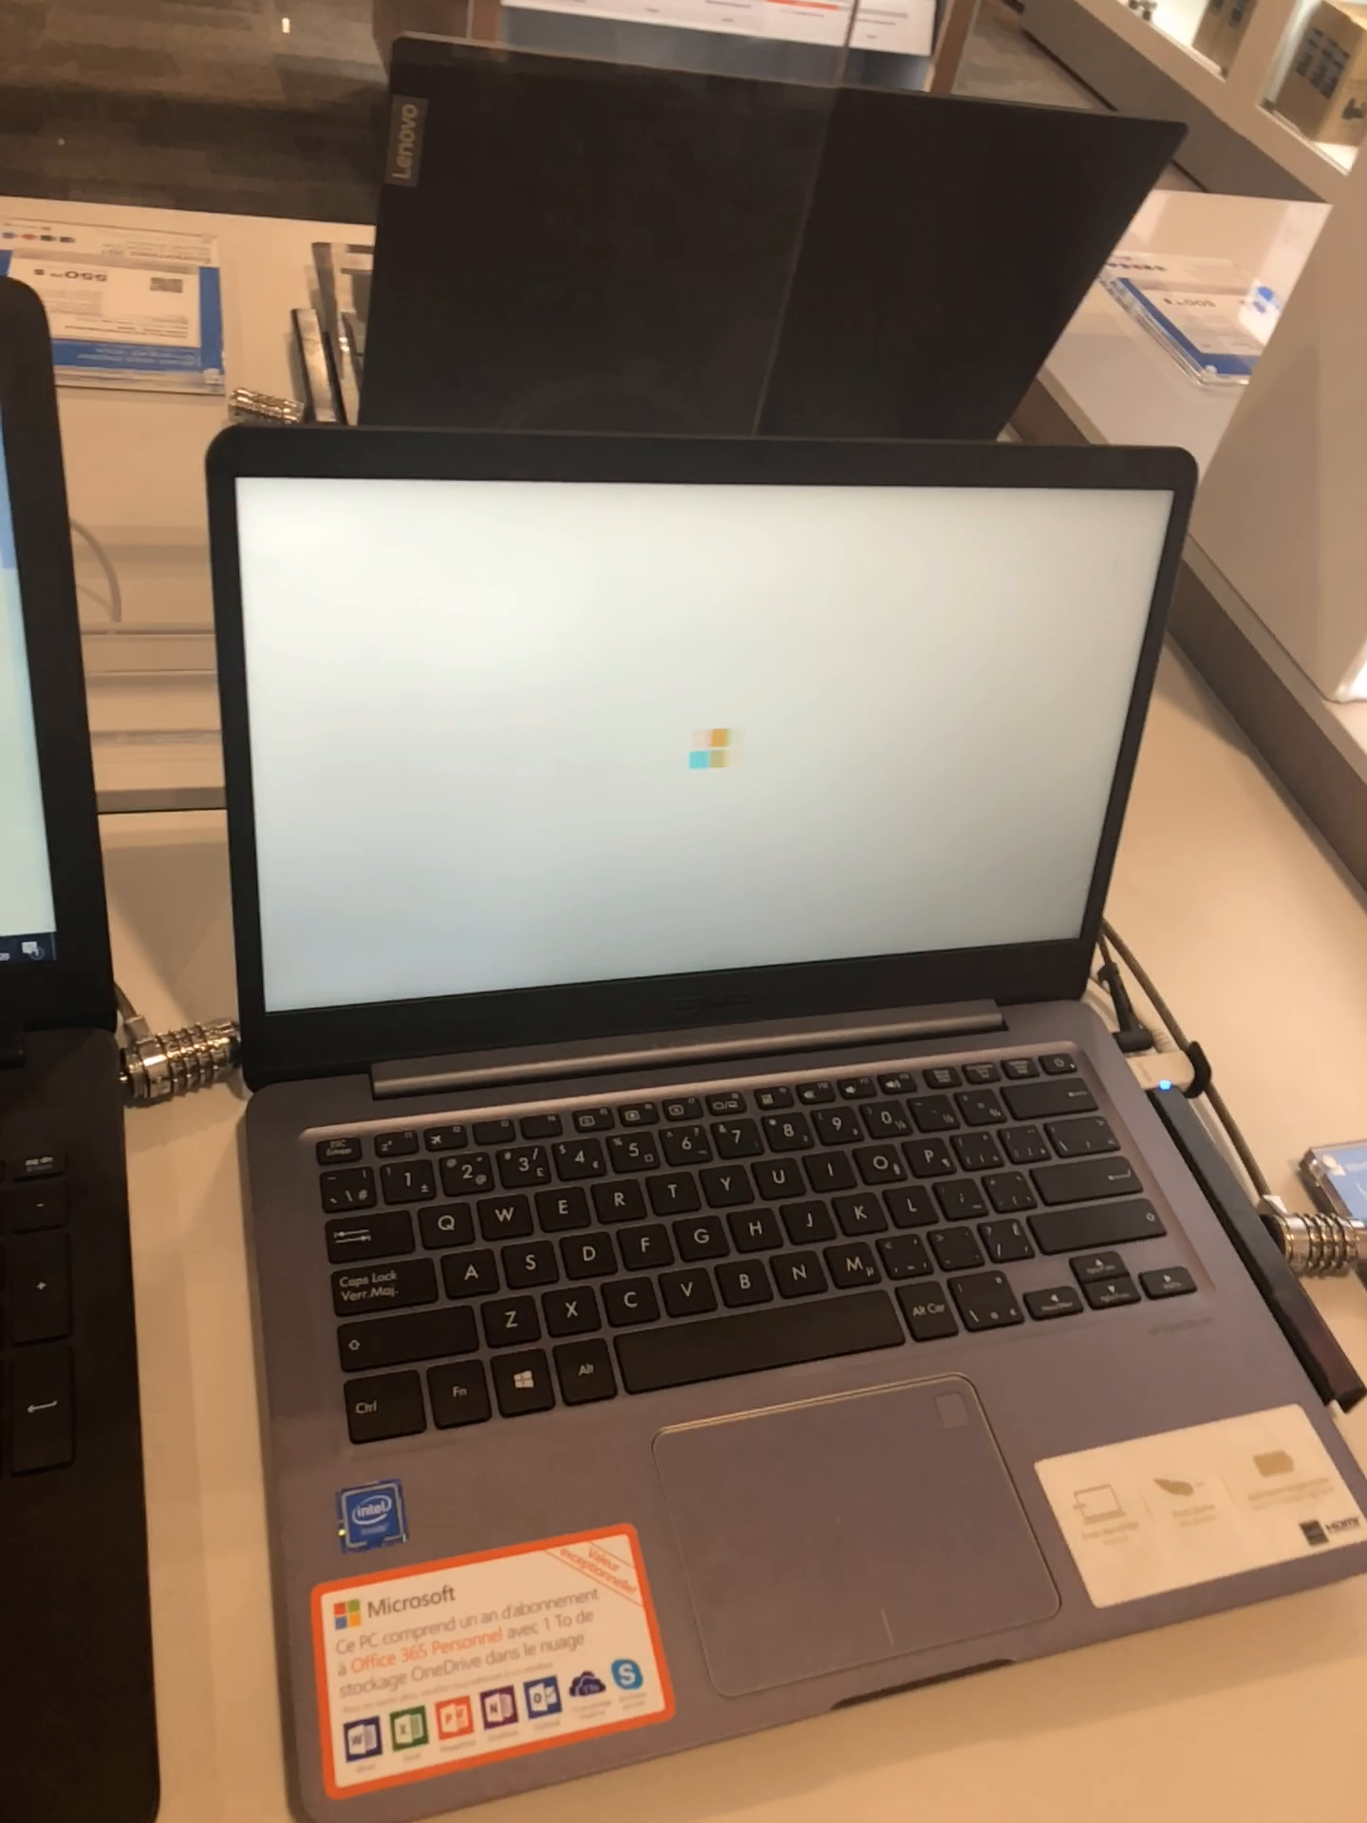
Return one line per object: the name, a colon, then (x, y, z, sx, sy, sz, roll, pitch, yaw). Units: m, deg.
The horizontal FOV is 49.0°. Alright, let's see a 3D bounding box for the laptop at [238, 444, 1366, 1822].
laptop: (0.046, 0.032, 0.435, 0.316, 0.196, 0.292, -4, 48, -18)
